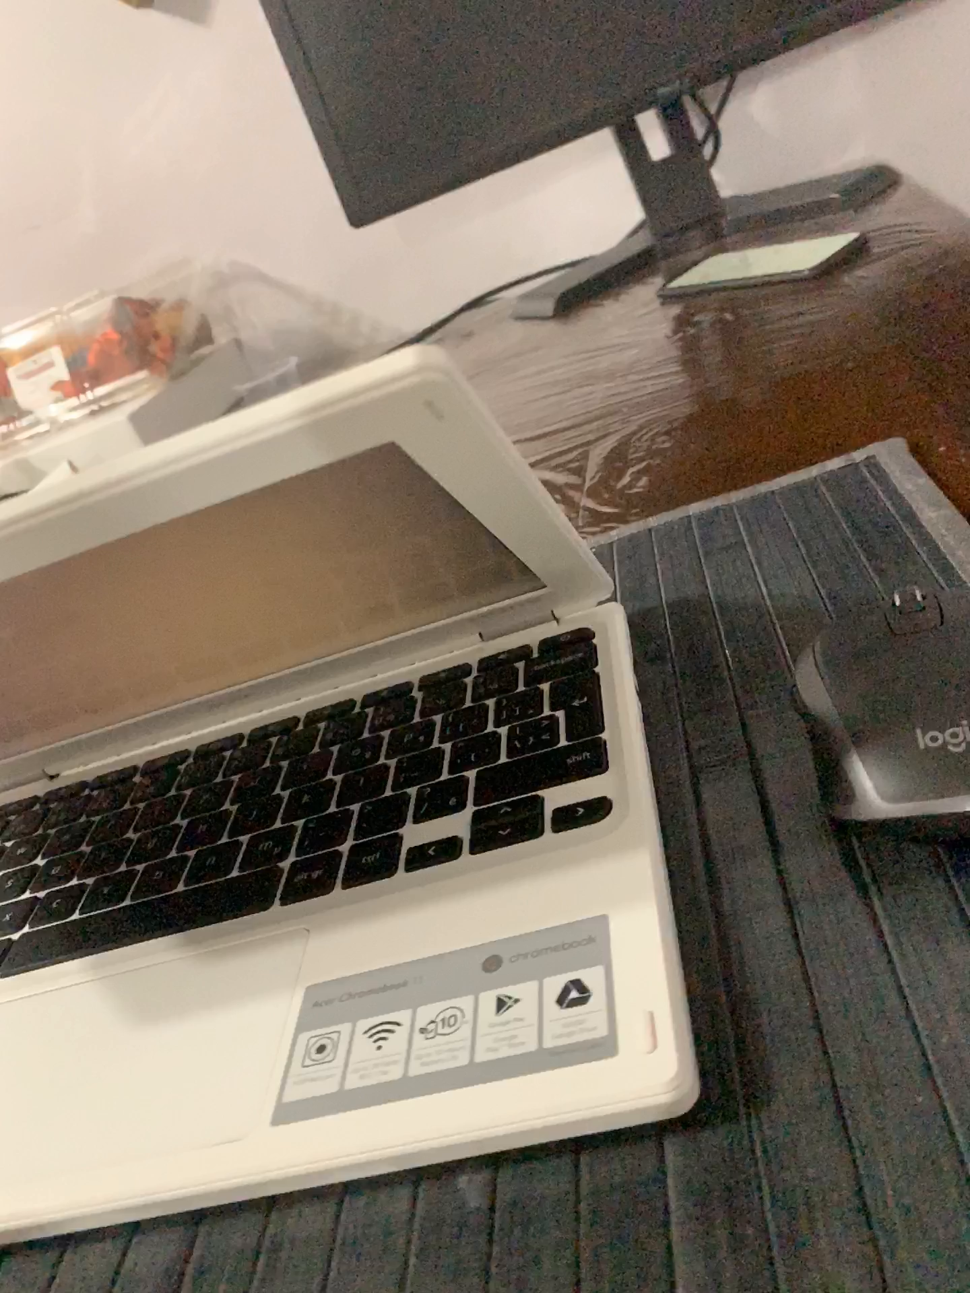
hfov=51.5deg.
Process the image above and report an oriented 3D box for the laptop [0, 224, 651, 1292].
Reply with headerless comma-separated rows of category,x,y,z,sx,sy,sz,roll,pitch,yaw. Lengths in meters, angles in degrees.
laptop,-0.119,0.020,0.257,0.280,0.124,0.182,-17,27,13
